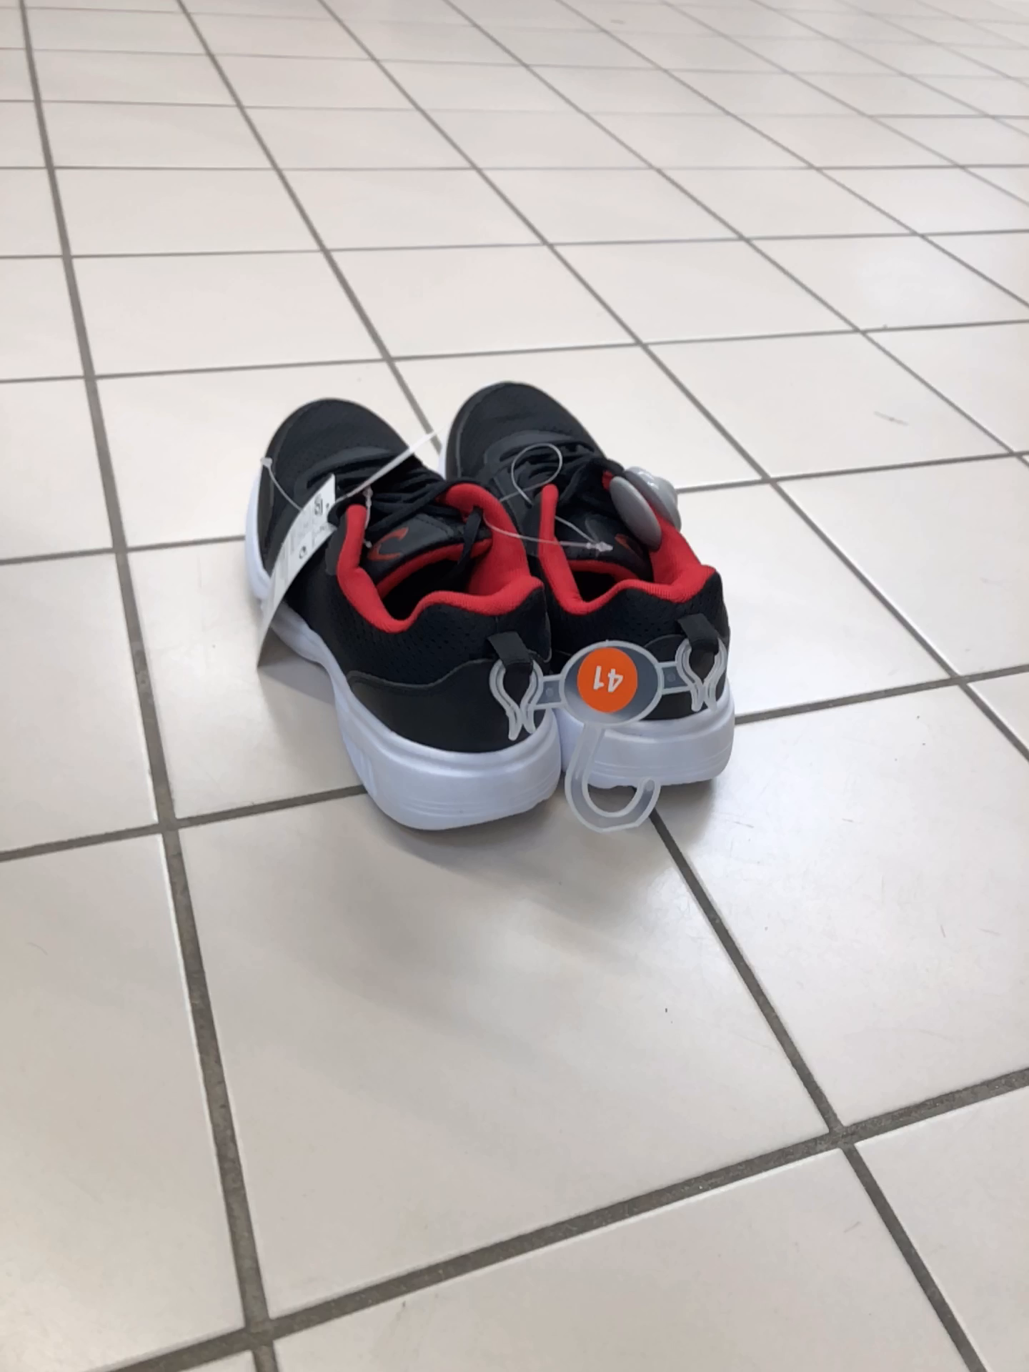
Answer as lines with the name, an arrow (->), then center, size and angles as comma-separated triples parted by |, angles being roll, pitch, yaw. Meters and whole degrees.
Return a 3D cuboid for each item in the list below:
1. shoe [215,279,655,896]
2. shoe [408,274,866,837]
shoe -> -0.057, -0.067, 0.532 | 0.100, 0.129, 0.296 | -10, 44, -20
shoe -> 0.035, -0.083, 0.562 | 0.100, 0.129, 0.286 | -8, 43, -18
